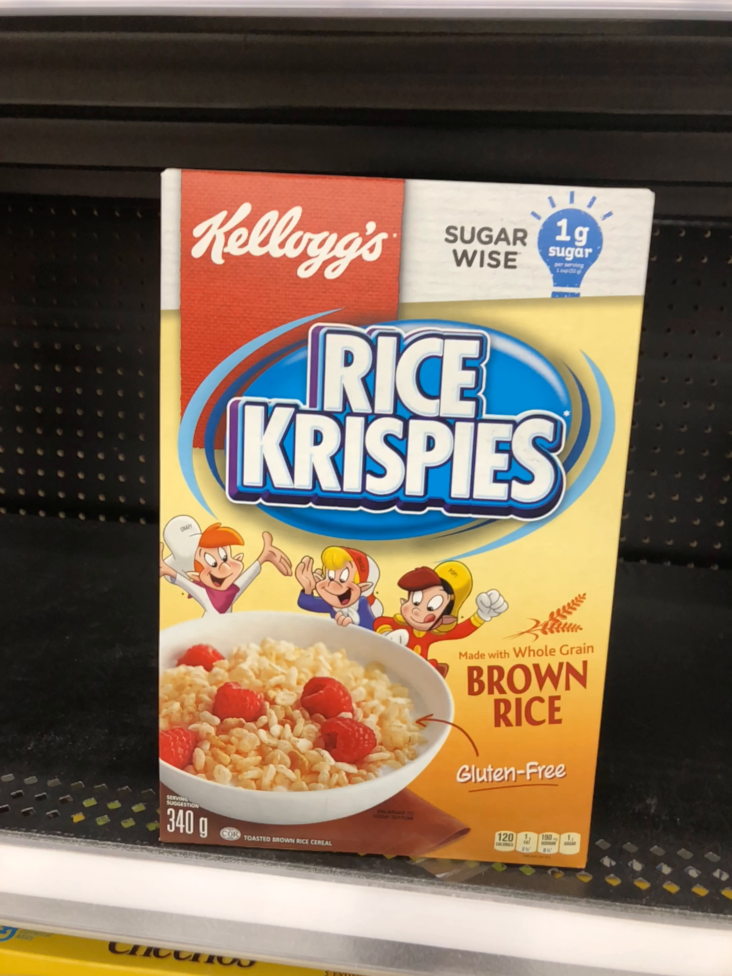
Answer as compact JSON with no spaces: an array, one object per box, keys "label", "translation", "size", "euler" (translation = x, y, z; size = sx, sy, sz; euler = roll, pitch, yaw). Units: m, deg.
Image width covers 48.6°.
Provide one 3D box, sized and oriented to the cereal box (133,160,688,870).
[{"label":"cereal box","translation":[0.010,0.016,0.364],"size":[0.210,0.289,0.060],"euler":[3,11,2]}]
